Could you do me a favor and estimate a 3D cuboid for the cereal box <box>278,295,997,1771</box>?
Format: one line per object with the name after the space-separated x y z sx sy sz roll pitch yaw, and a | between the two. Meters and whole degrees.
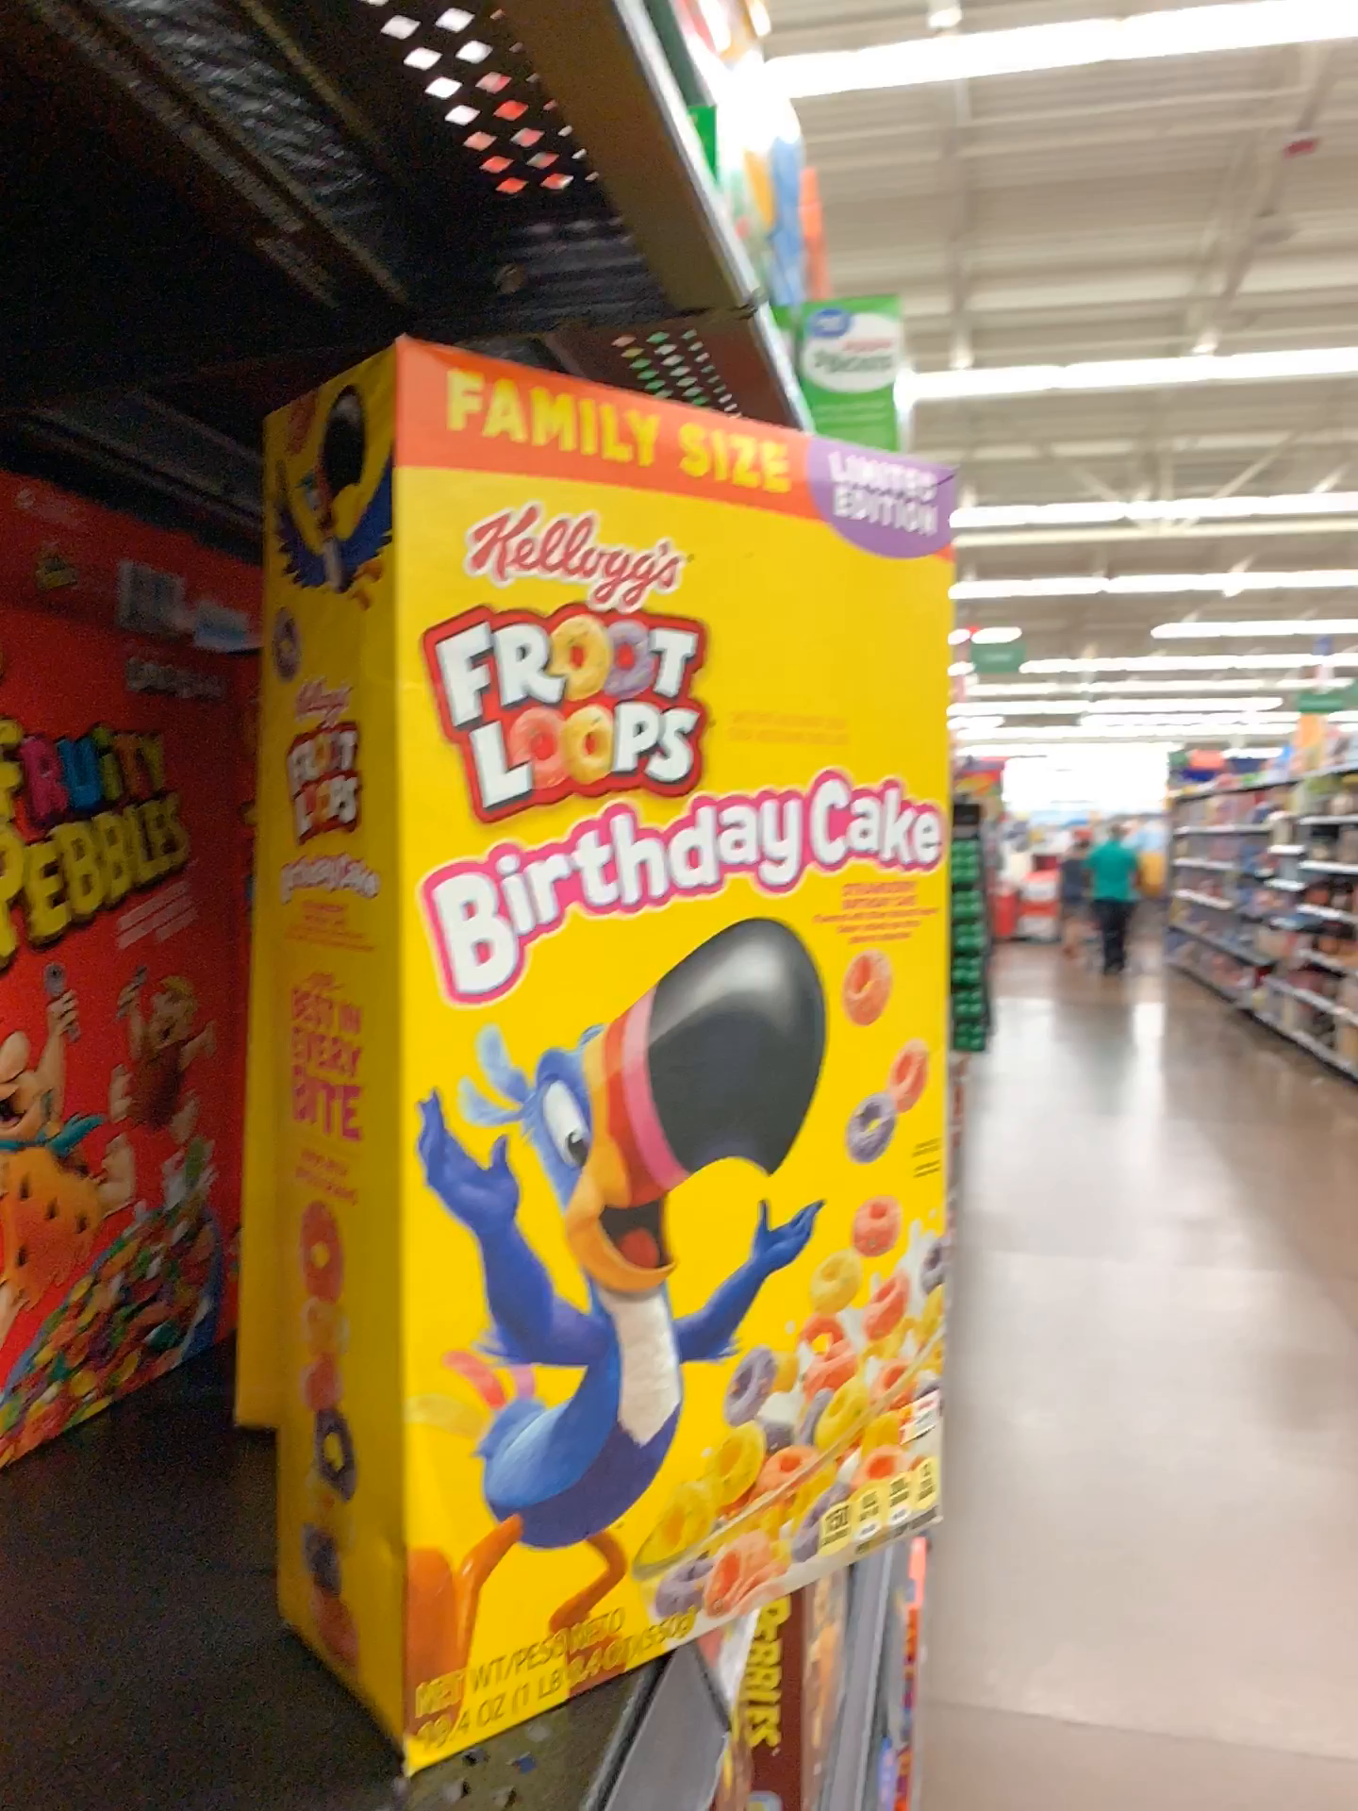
-0.004 0.027 0.407 0.200 0.330 0.080 -1 2 -40 | cereal box
